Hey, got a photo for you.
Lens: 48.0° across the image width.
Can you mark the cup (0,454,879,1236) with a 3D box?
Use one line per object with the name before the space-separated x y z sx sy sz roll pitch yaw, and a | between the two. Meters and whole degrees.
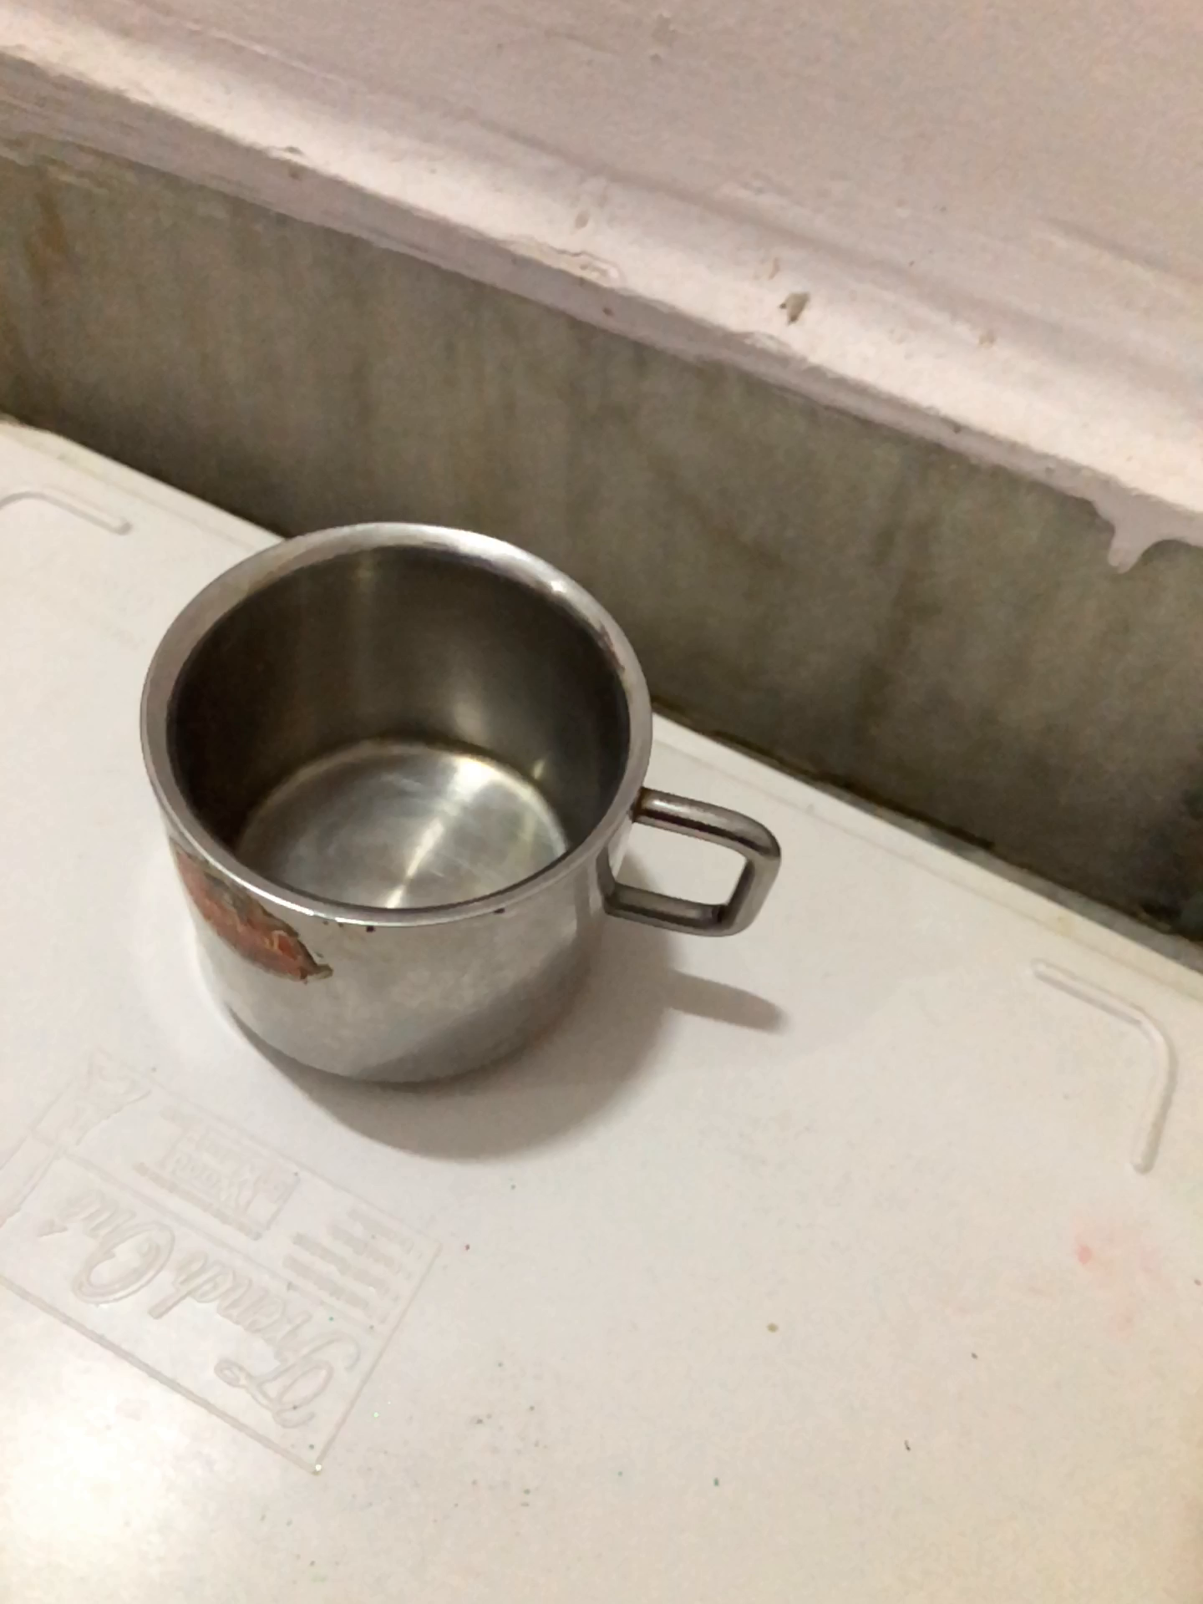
cup | -0.019 0.004 0.209 0.100 0.050 0.081 18 54 4
